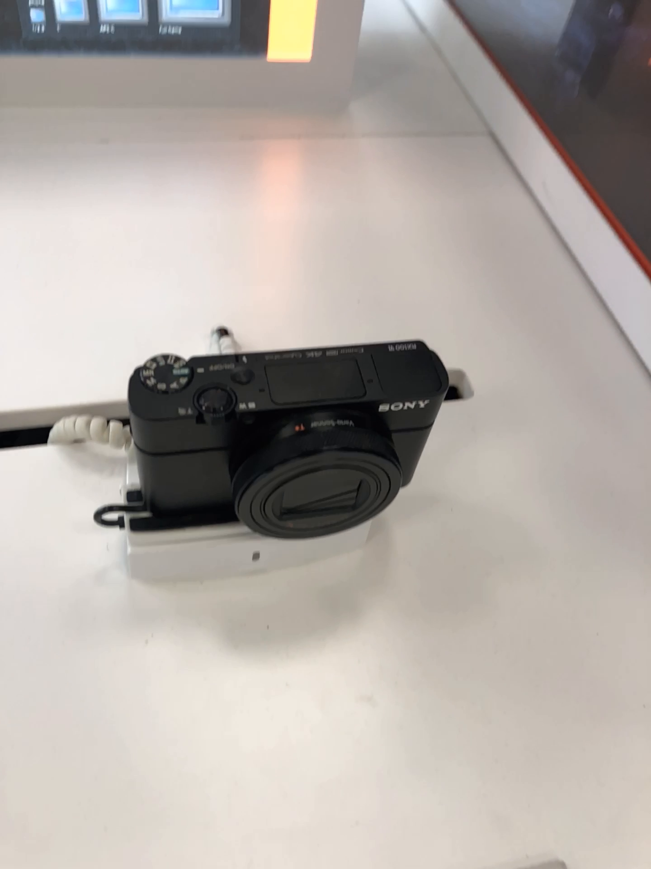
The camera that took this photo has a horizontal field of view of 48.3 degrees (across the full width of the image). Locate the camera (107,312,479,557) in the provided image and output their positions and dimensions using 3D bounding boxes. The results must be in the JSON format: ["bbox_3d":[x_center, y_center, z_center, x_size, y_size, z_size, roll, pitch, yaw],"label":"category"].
[{"bbox_3d":[-0.014,0.000,0.252,0.110,0.070,0.040,-6,53,-13],"label":"camera"}]
